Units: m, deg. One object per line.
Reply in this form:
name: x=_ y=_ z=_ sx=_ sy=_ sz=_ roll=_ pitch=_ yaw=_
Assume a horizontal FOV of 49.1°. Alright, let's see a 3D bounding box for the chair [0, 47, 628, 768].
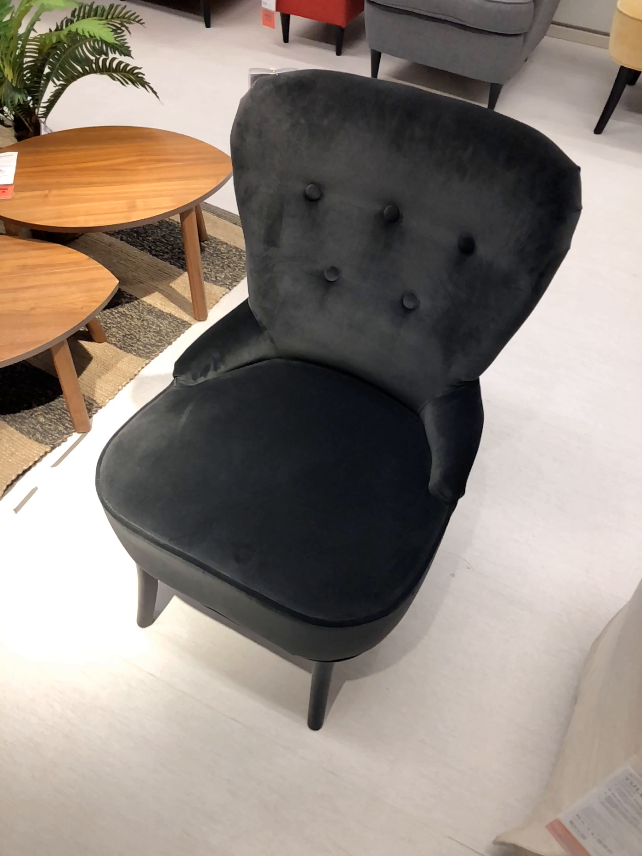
chair: x=0.005 y=-0.043 z=1.222 sx=0.601 sy=0.775 sz=0.794 roll=23 pitch=54 yaw=16
